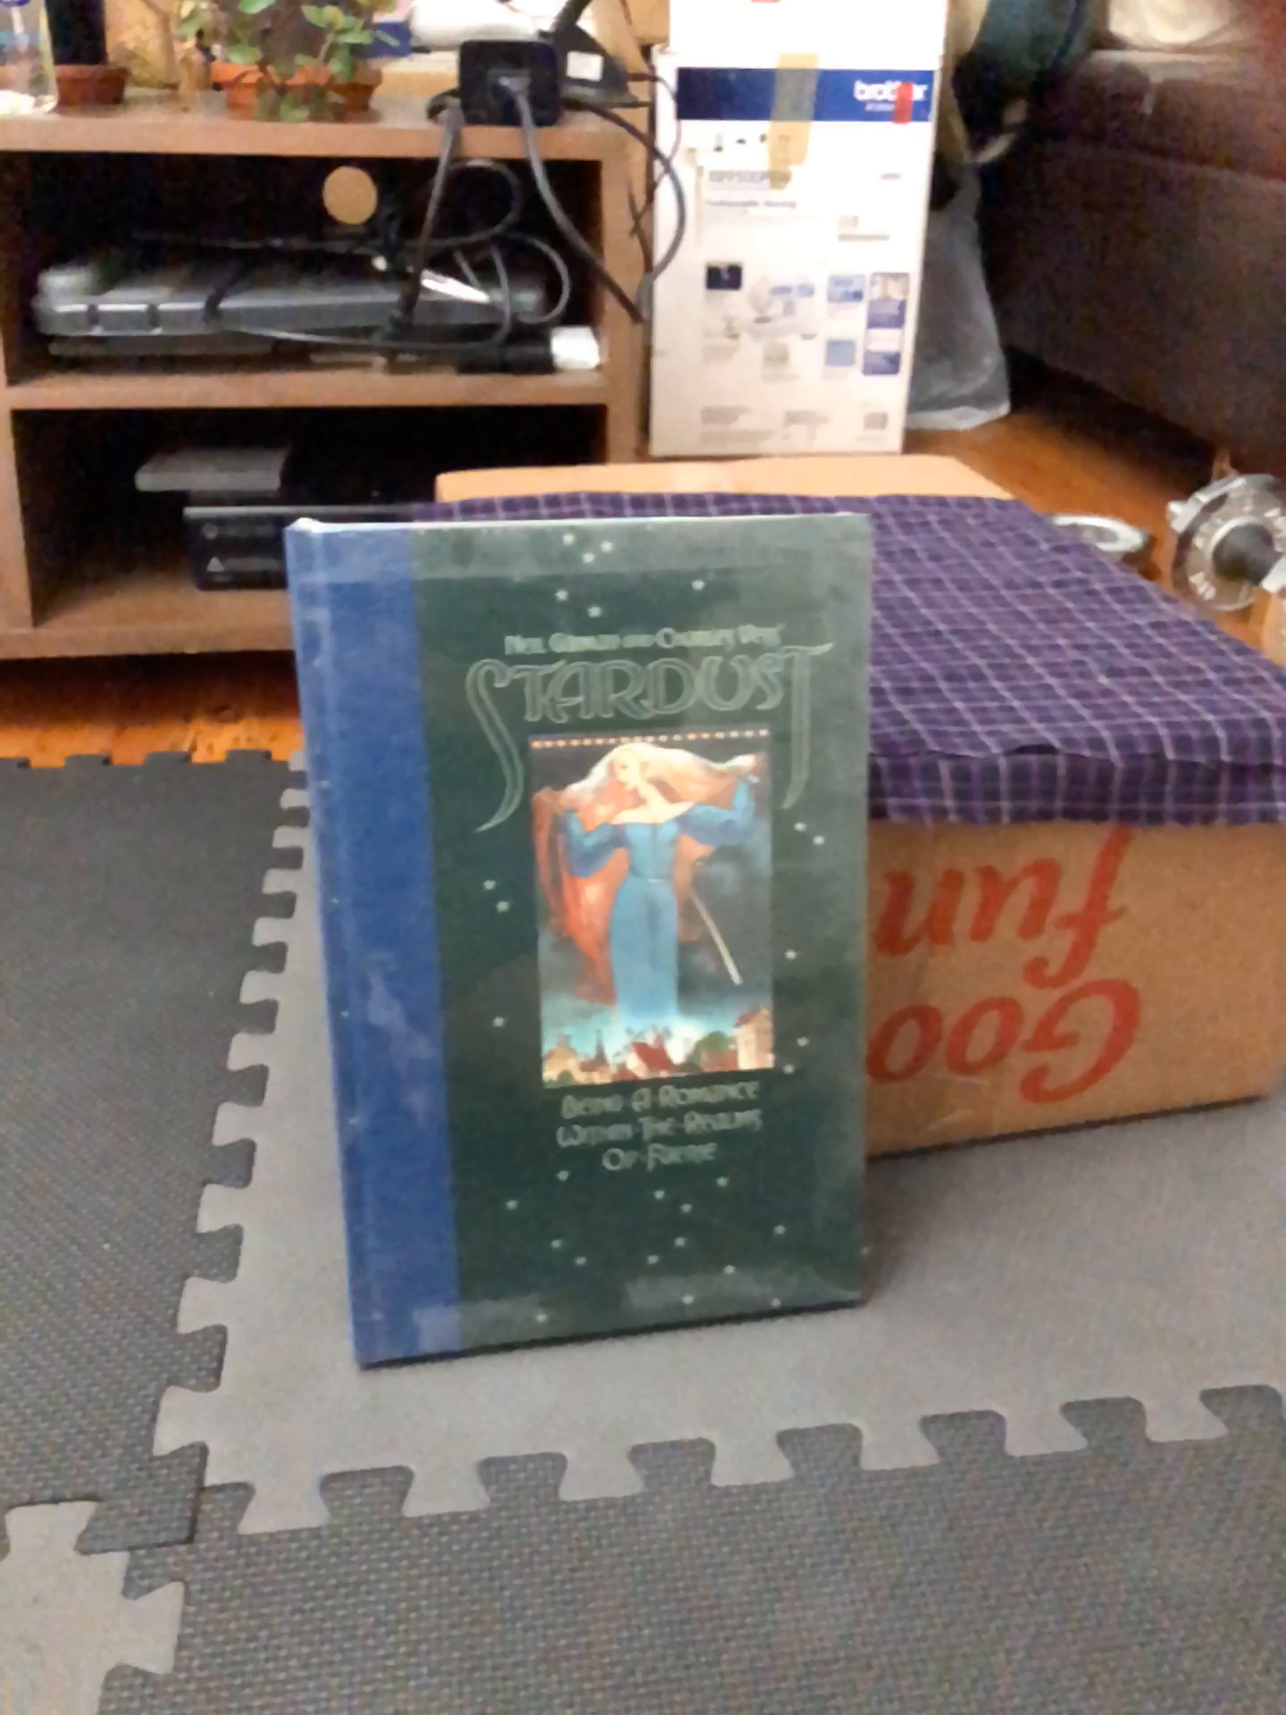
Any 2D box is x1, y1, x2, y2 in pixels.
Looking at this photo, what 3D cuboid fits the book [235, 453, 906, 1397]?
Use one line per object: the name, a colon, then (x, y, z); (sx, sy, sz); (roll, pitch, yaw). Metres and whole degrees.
book: (-0.018, 0.025, 0.528); (0.220, 0.329, 0.050); (-5, 15, -10)
